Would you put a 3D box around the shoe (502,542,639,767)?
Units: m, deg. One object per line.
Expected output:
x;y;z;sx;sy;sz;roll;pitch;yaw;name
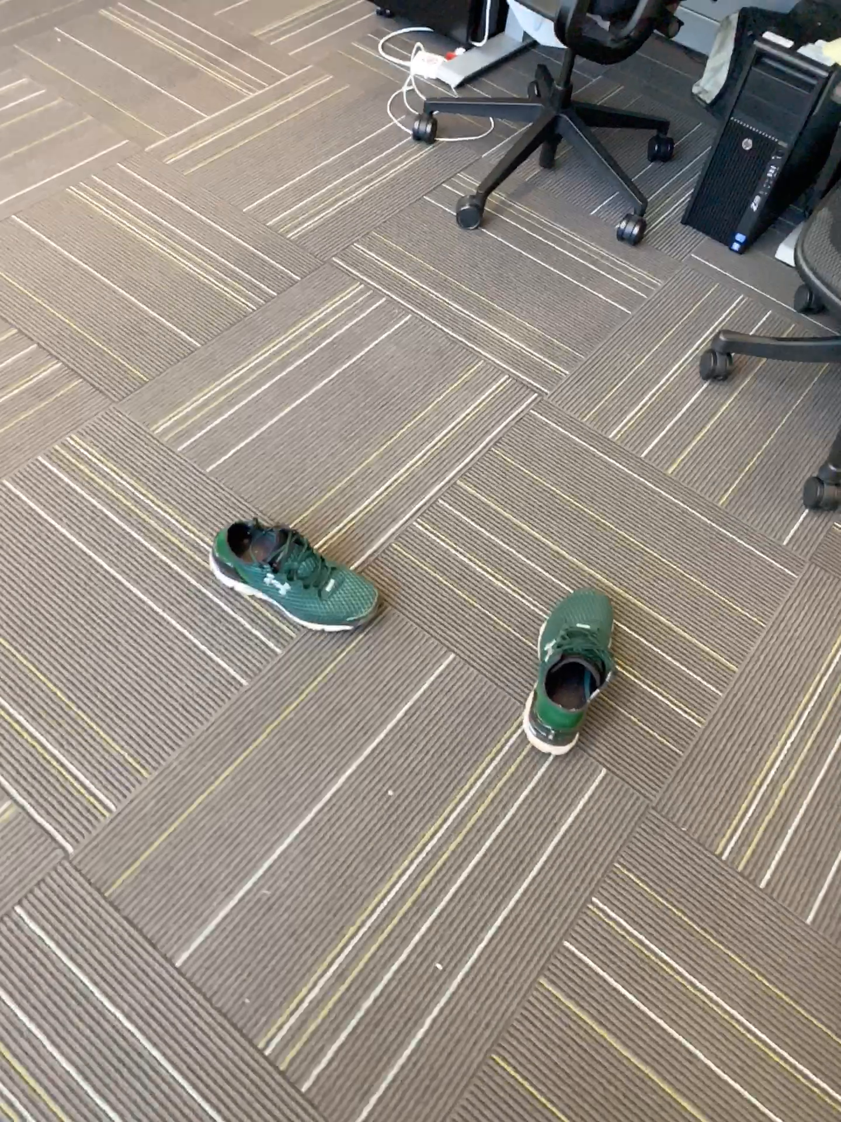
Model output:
0.242;0.145;1.364;0.130;0.130;0.311;18;56;5;shoe

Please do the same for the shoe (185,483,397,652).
-0.211;0.010;1.409;0.310;0.130;0.130;21;57;8;shoe
